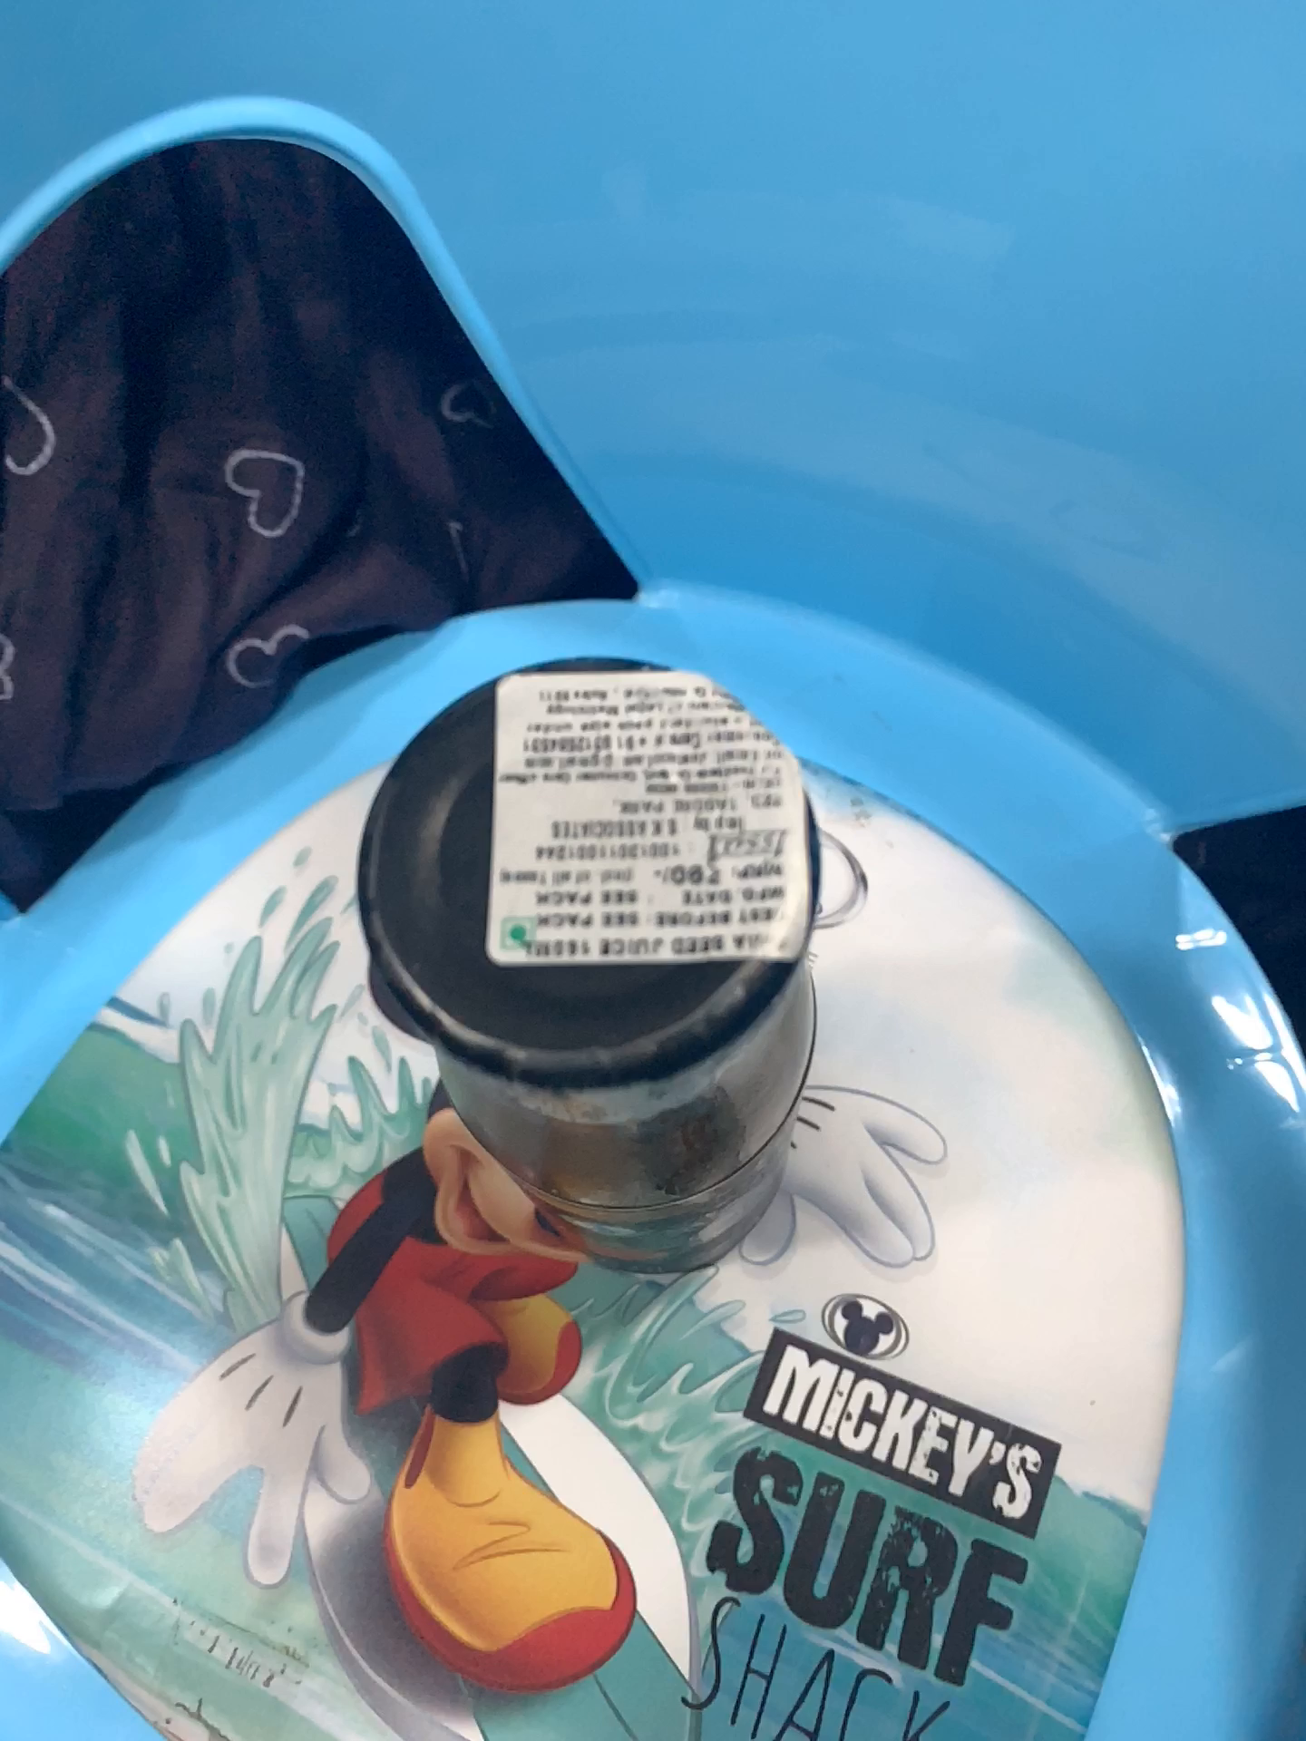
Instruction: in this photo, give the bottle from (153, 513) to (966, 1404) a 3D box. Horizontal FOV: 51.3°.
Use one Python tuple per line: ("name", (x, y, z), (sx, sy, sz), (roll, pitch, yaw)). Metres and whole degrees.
("bottle", (-0.008, 0.025, 0.175), (0.050, 0.130, 0.050), (0, 64, 0))
